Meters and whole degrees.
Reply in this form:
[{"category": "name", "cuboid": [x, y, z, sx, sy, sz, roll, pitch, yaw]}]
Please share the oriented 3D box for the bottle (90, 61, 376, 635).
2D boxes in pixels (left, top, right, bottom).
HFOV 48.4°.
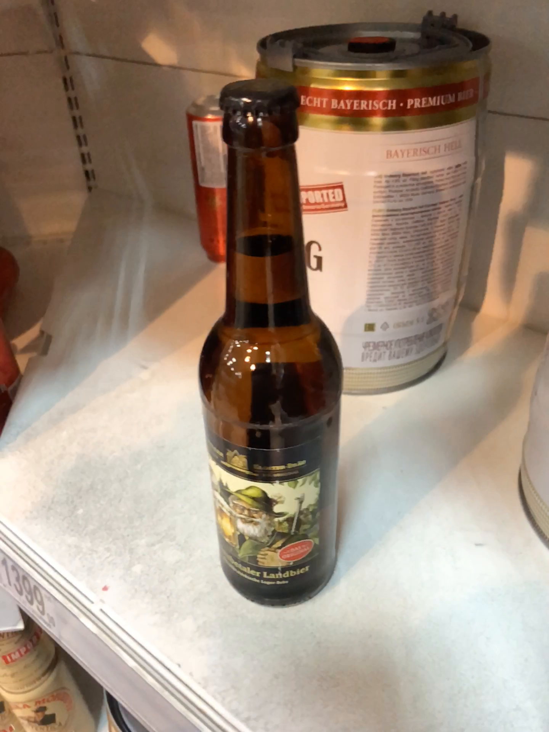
[{"category": "bottle", "cuboid": [-0.007, 0.010, 0.281, 0.071, 0.257, 0.064, 22, 44, 30]}]
